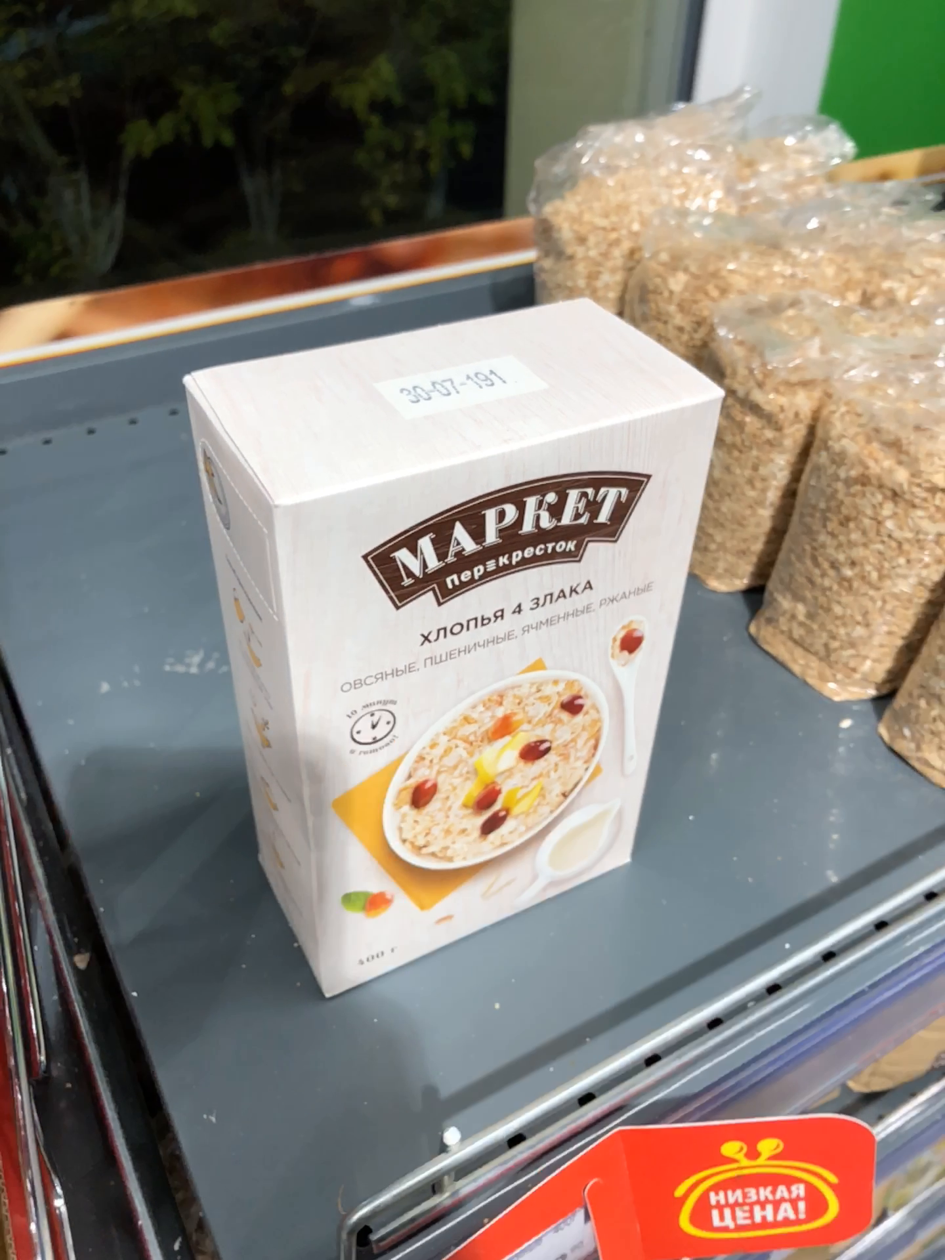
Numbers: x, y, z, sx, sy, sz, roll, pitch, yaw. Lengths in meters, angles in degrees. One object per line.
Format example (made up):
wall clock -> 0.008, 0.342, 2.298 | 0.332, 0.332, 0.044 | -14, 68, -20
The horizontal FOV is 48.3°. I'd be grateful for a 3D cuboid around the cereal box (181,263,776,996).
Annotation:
cereal box -> 0.000, 0.004, 0.321 | 0.130, 0.189, 0.070 | -18, 43, -23
